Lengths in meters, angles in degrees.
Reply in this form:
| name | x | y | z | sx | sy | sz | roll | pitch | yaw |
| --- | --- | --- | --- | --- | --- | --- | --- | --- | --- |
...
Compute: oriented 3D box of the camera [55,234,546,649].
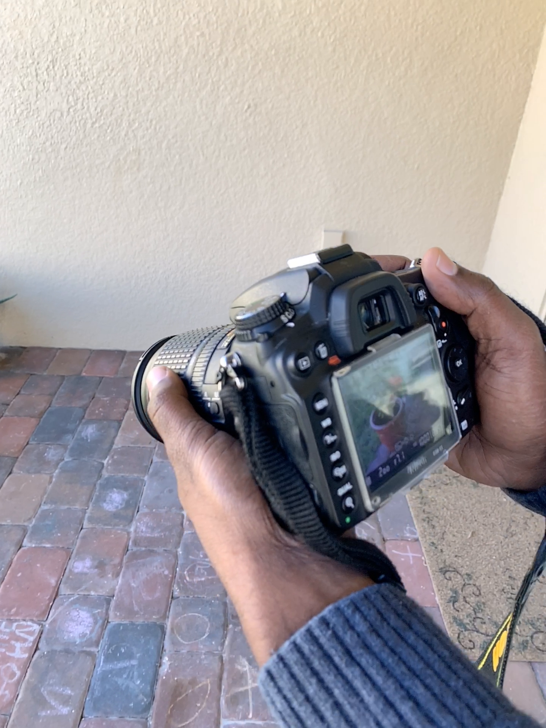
| name | x | y | z | sx | sy | sz | roll | pitch | yaw |
| --- | --- | --- | --- | --- | --- | --- | --- | --- | --- |
| camera | 0.008 | 0.019 | 0.274 | 0.131 | 0.100 | 0.200 | -24 | 13 | -38 |
